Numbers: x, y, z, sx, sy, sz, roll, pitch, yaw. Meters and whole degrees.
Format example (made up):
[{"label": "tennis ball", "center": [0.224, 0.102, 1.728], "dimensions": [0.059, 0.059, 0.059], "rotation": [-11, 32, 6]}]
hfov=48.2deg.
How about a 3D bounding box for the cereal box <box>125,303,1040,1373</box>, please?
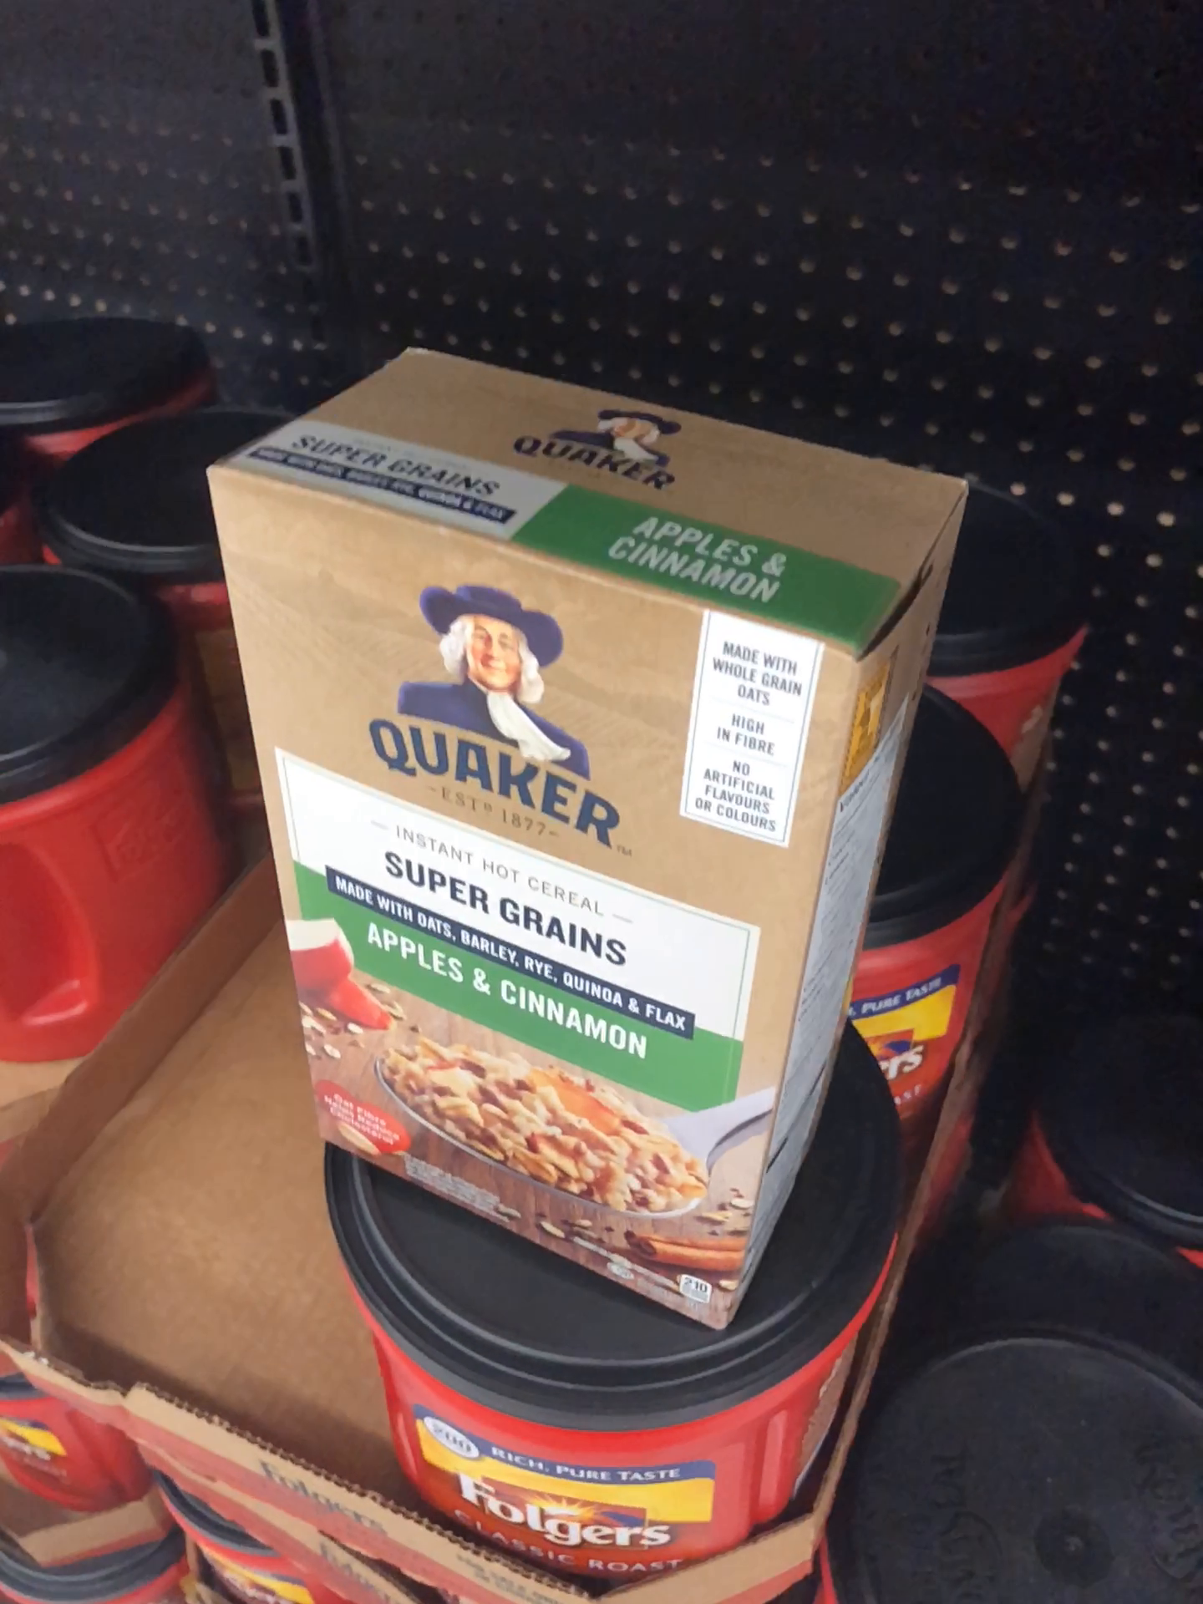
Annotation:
[{"label": "cereal box", "center": [-0.005, 0.016, 0.288], "dimensions": [0.140, 0.199, 0.060], "rotation": [20, 45, 22]}]
